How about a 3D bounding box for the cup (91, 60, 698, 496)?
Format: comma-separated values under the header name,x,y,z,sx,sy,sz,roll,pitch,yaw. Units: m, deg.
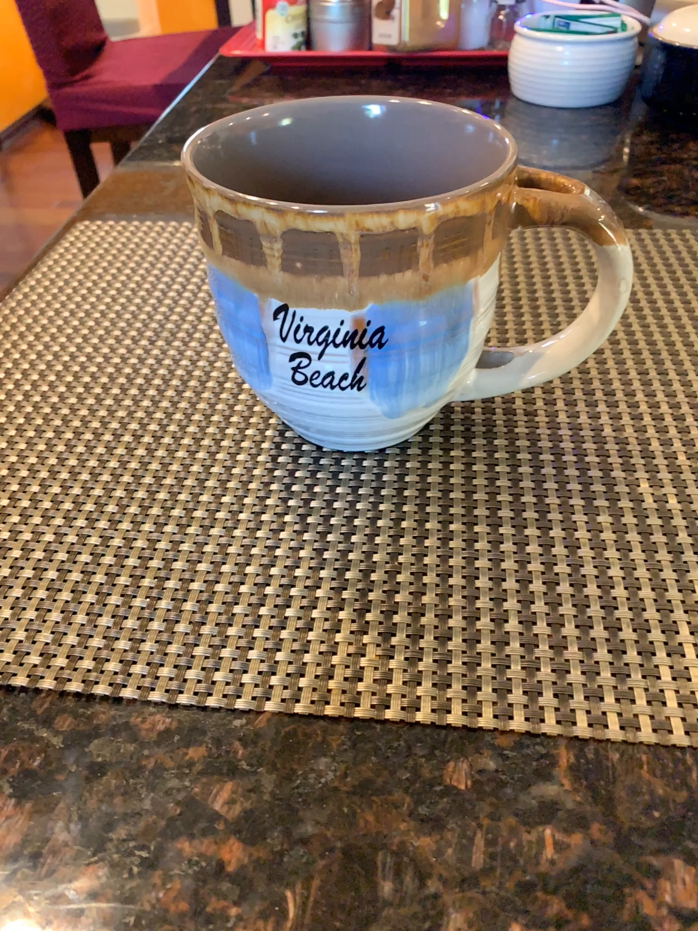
name,x,y,z,sx,sy,sz,roll,pitch,yaw
cup,0.021,-0.066,0.233,0.150,0.090,0.100,7,43,10
